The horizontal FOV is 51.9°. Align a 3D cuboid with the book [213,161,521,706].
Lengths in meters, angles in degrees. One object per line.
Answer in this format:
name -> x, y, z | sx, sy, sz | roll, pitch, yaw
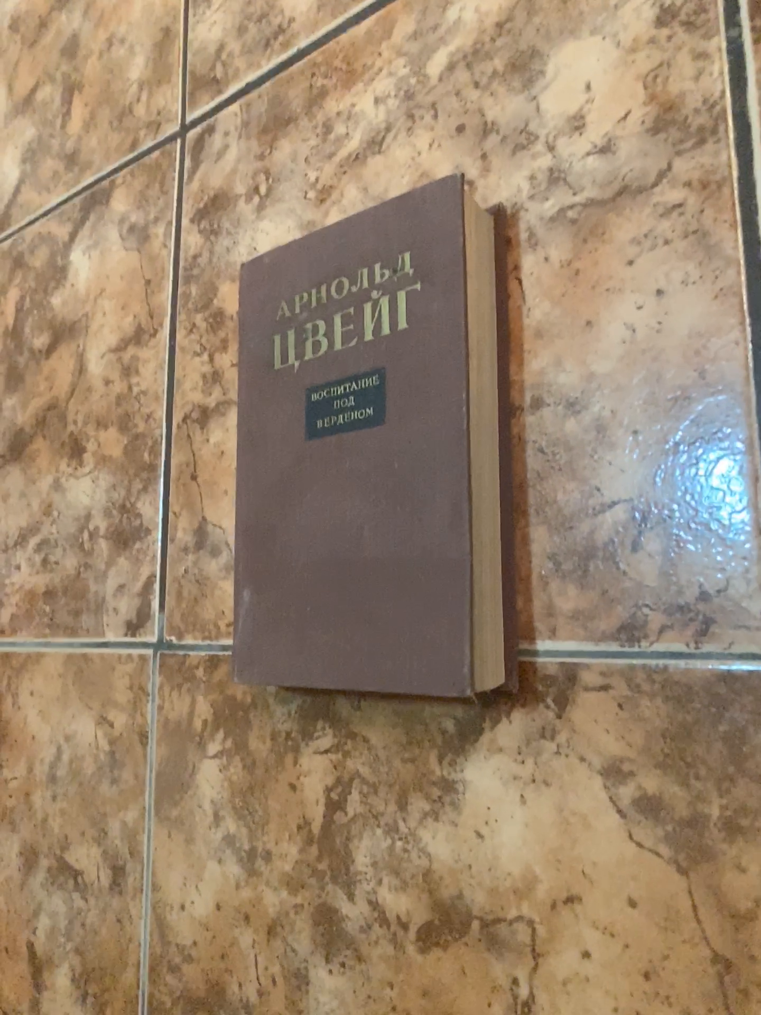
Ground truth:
book -> -0.012, -0.024, 0.344 | 0.140, 0.034, 0.205 | -7, 79, 38
